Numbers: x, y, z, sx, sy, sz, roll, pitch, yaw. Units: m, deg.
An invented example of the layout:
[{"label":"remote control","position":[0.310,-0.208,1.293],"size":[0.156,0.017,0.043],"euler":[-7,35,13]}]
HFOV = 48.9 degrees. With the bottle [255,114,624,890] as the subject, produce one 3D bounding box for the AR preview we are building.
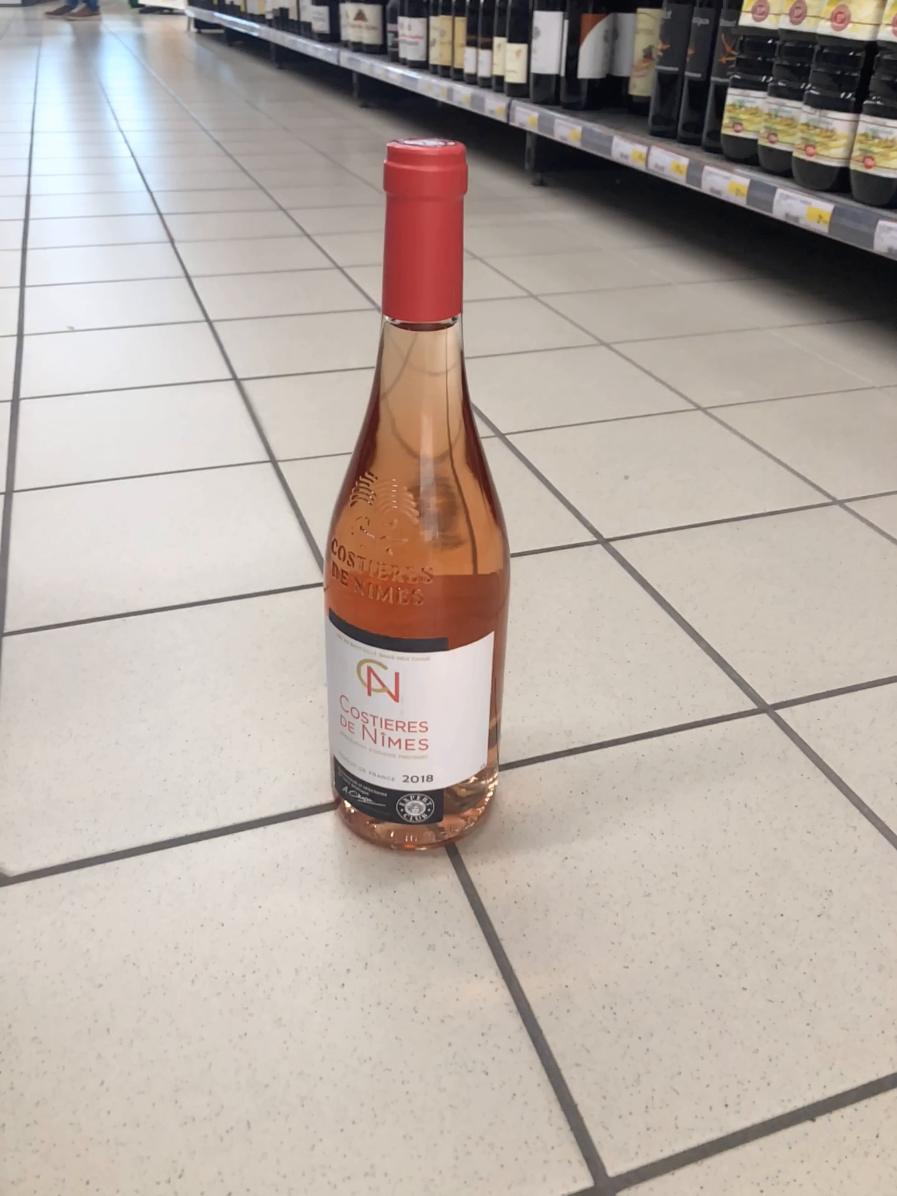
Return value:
[{"label":"bottle","position":[-0.002,-0.030,0.388],"size":[0.090,0.278,0.091],"euler":[1,31,-1]}]
